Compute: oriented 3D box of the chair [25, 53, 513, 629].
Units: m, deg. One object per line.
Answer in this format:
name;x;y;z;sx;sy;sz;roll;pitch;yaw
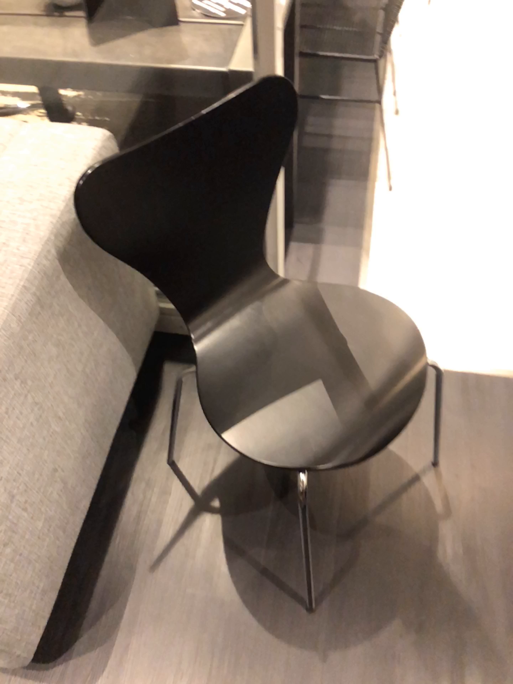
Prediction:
chair;0.075;0.058;1.023;0.502;0.805;0.491;38;64;26
